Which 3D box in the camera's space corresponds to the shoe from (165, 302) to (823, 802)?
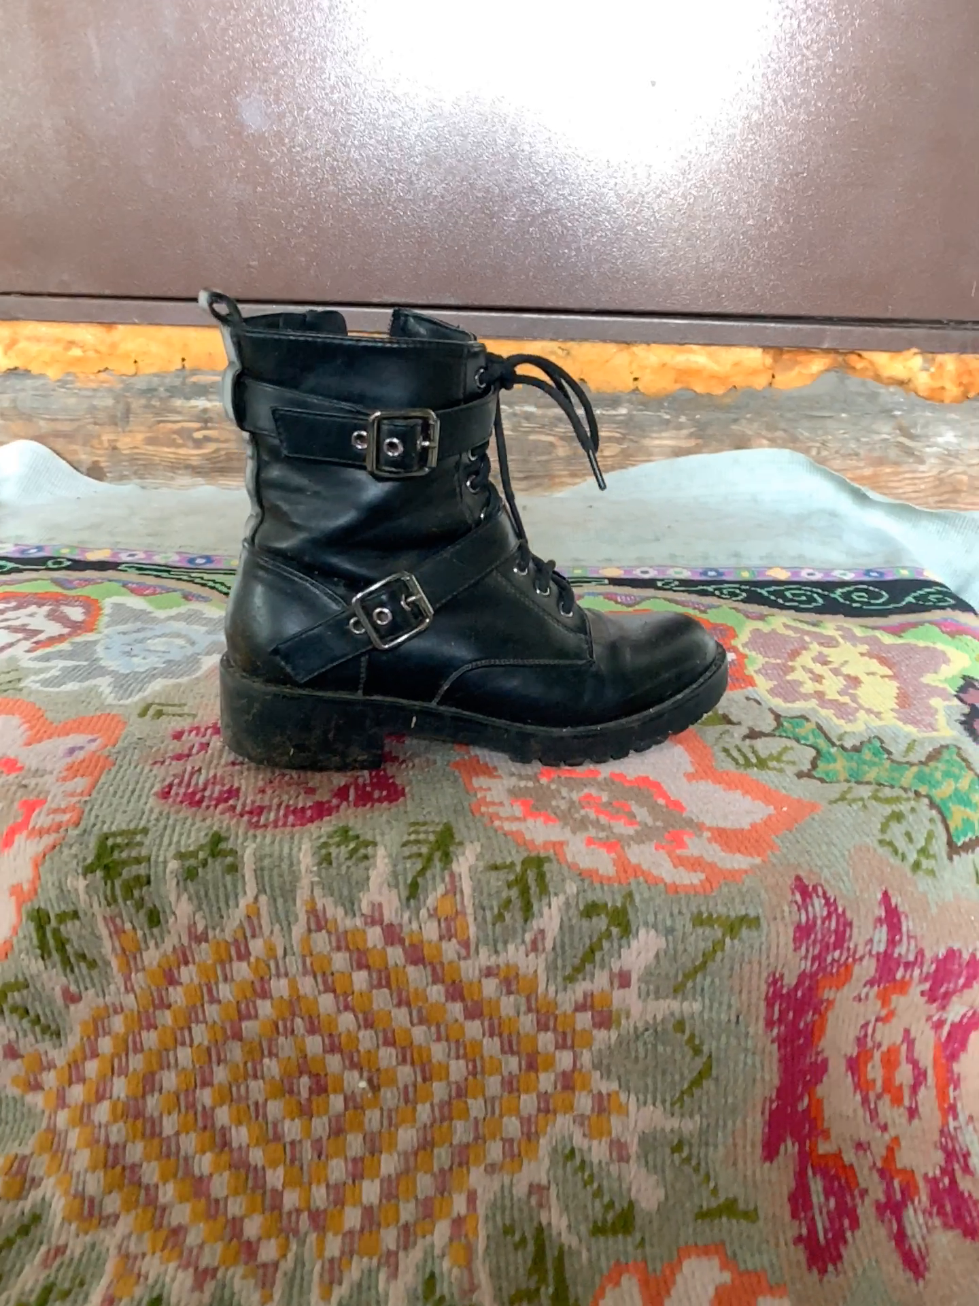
[{"bbox_3d":[-0.002,-0.048,0.437,0.240,0.189,0.091,-2,22,-9],"label":"shoe"}]
